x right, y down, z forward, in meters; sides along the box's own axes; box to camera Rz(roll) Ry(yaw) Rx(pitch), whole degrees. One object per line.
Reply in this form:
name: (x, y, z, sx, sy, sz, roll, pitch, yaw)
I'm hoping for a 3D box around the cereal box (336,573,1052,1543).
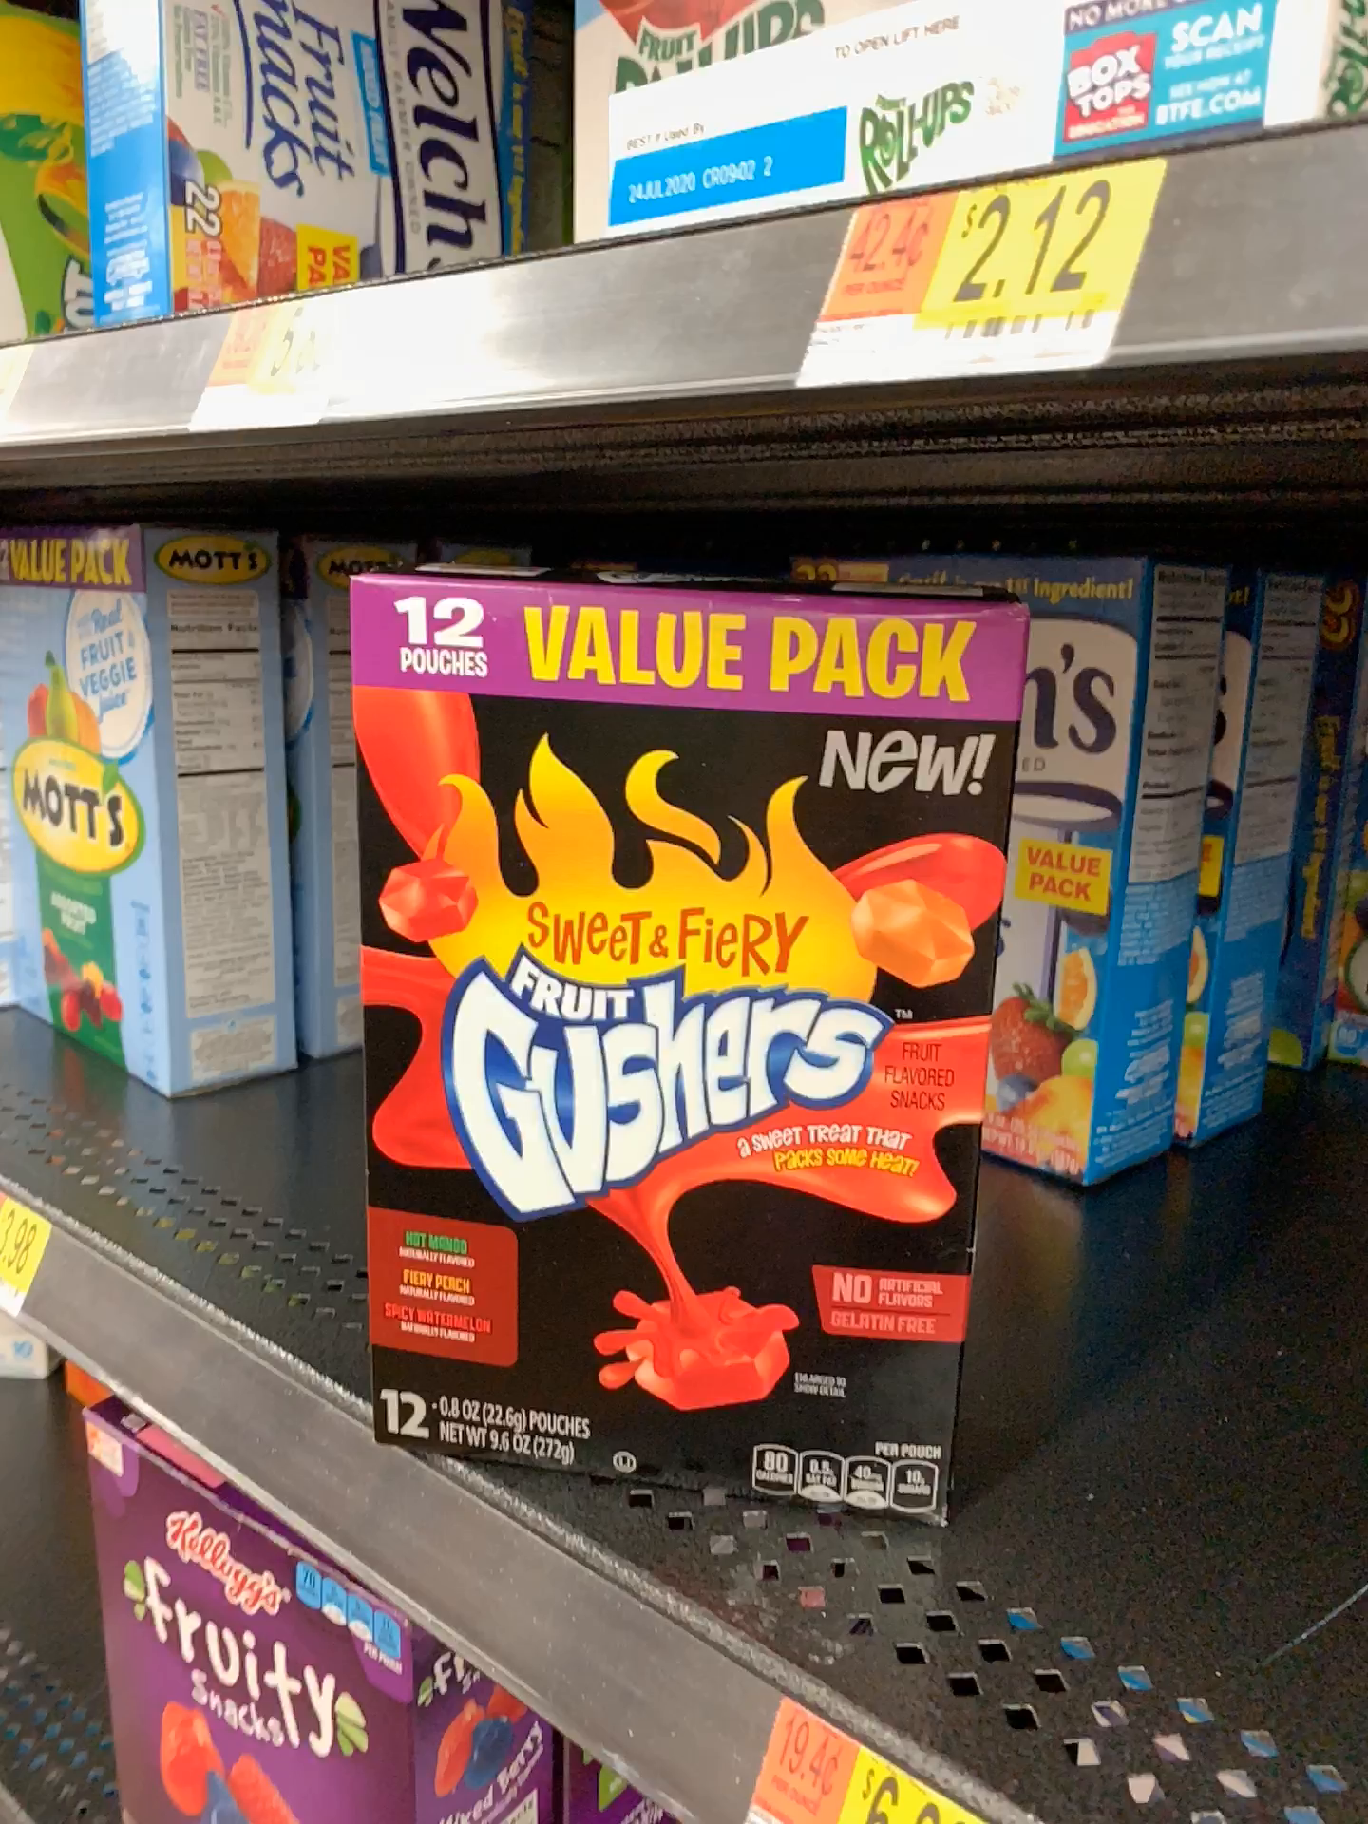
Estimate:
cereal box: (0.001, 0.033, 0.346, 0.150, 0.219, 0.050, 4, 16, 10)
